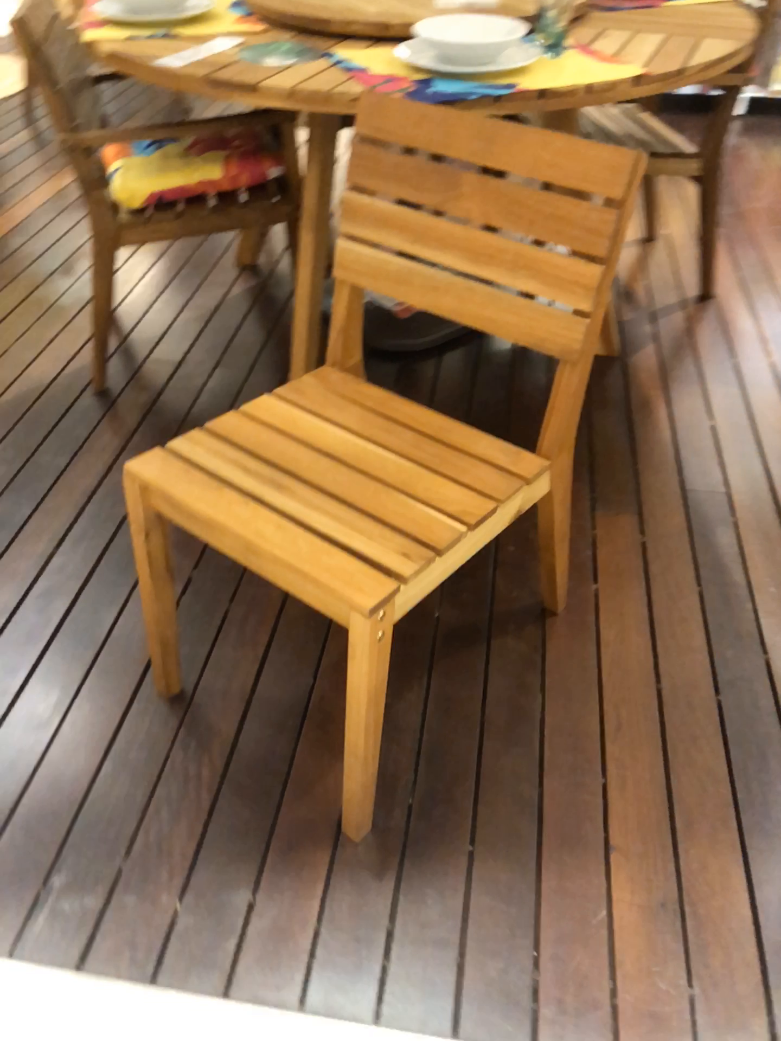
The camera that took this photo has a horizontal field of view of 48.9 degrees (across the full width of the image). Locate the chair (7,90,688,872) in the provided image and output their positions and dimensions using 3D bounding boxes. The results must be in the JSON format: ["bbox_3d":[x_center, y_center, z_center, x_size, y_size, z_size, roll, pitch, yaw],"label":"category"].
[{"bbox_3d":[-0.018,-0.076,1.178,0.461,0.764,0.603,27,47,29],"label":"chair"}]
